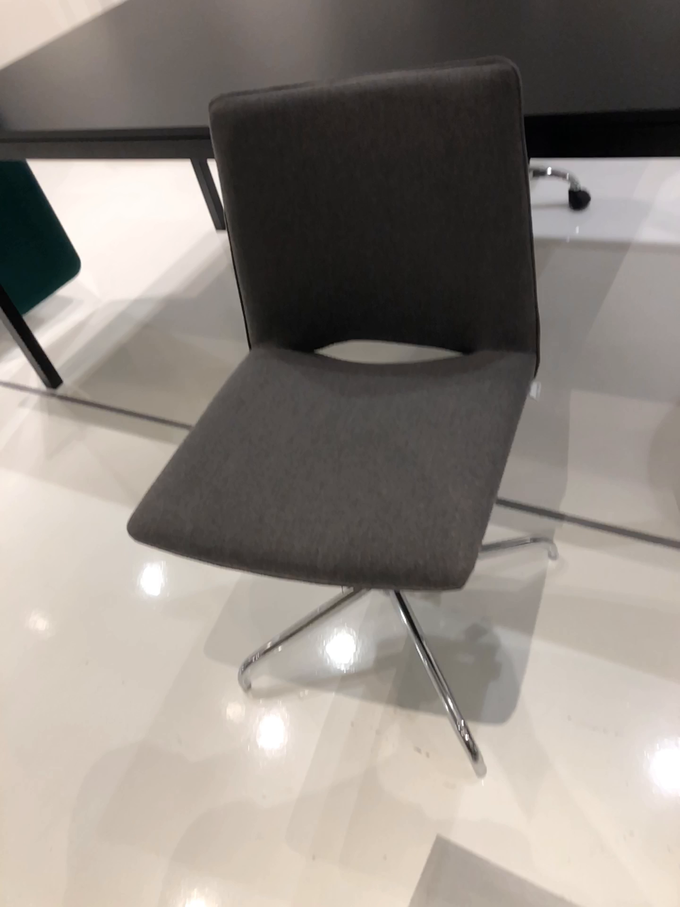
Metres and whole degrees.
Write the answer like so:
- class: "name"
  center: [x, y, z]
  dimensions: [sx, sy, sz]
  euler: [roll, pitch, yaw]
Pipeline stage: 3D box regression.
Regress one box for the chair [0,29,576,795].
- class: "chair"
  center: [0.024, -0.020, 1.069]
  dimensions: [0.521, 0.834, 0.553]
  euler: [5, 47, 23]
